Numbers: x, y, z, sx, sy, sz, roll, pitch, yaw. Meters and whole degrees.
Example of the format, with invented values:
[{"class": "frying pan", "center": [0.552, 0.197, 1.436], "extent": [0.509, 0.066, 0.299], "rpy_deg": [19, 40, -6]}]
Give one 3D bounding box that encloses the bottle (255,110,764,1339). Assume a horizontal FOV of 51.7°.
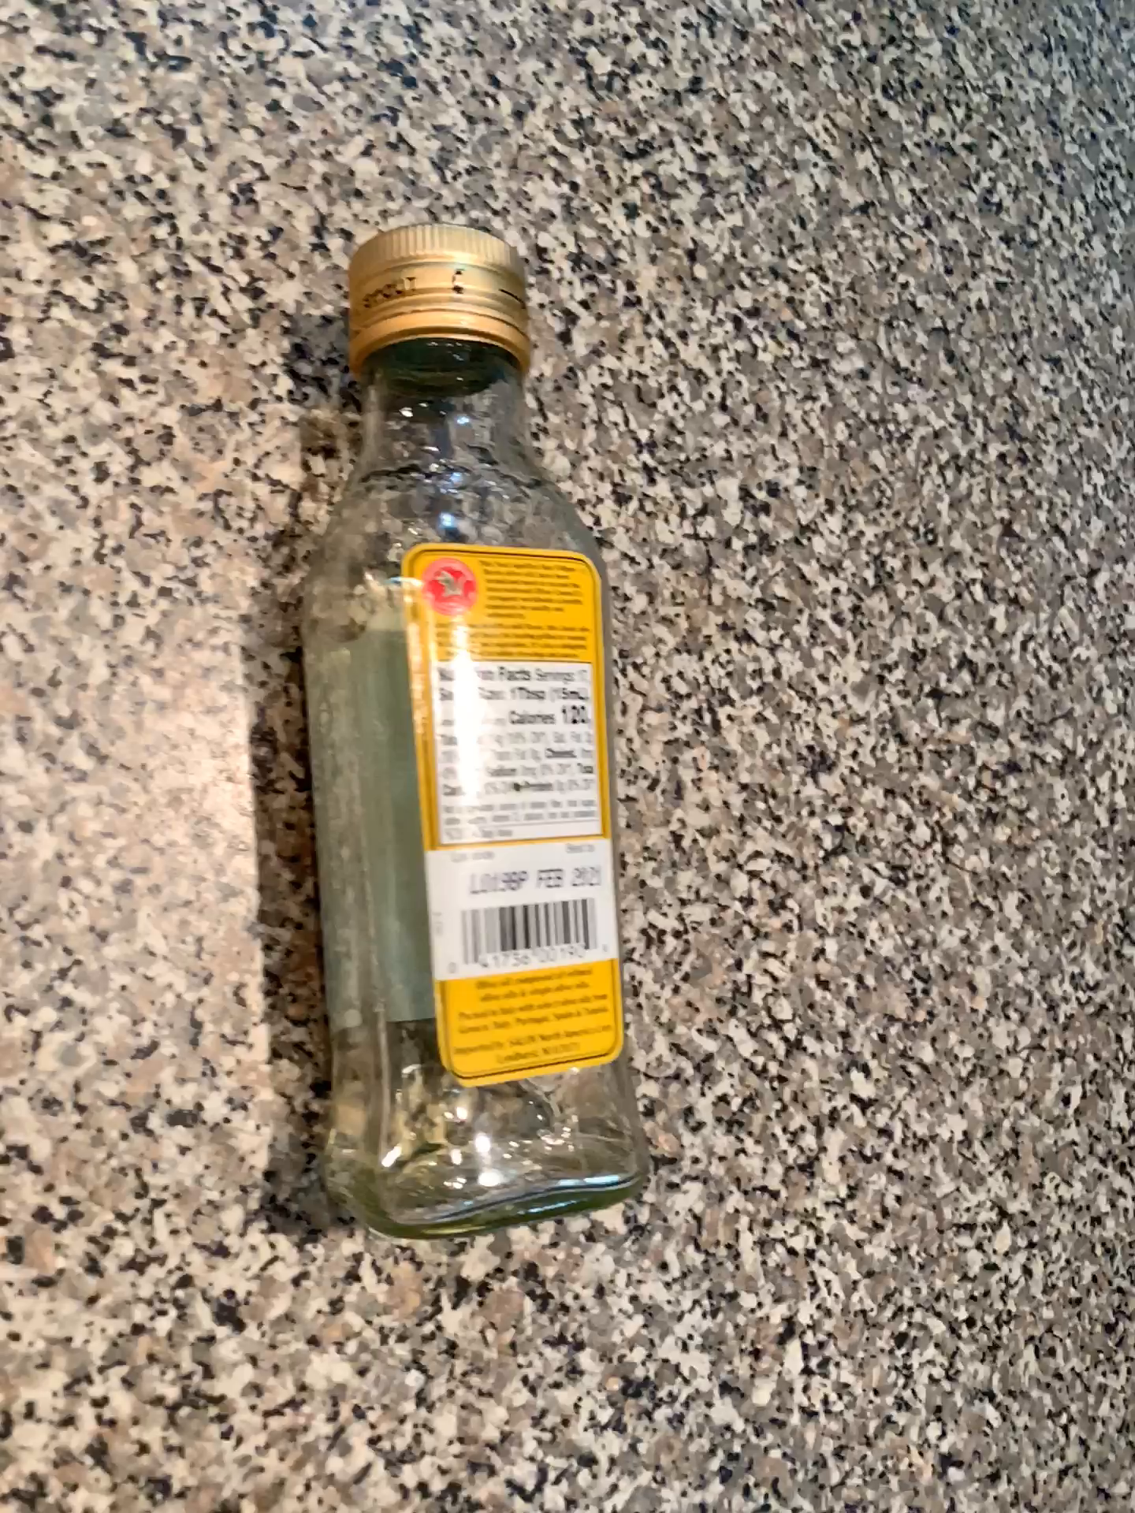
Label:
[{"class": "bottle", "center": [-0.015, -0.006, 0.210], "extent": [0.060, 0.060, 0.180], "rpy_deg": [-1, 83, -28]}]
